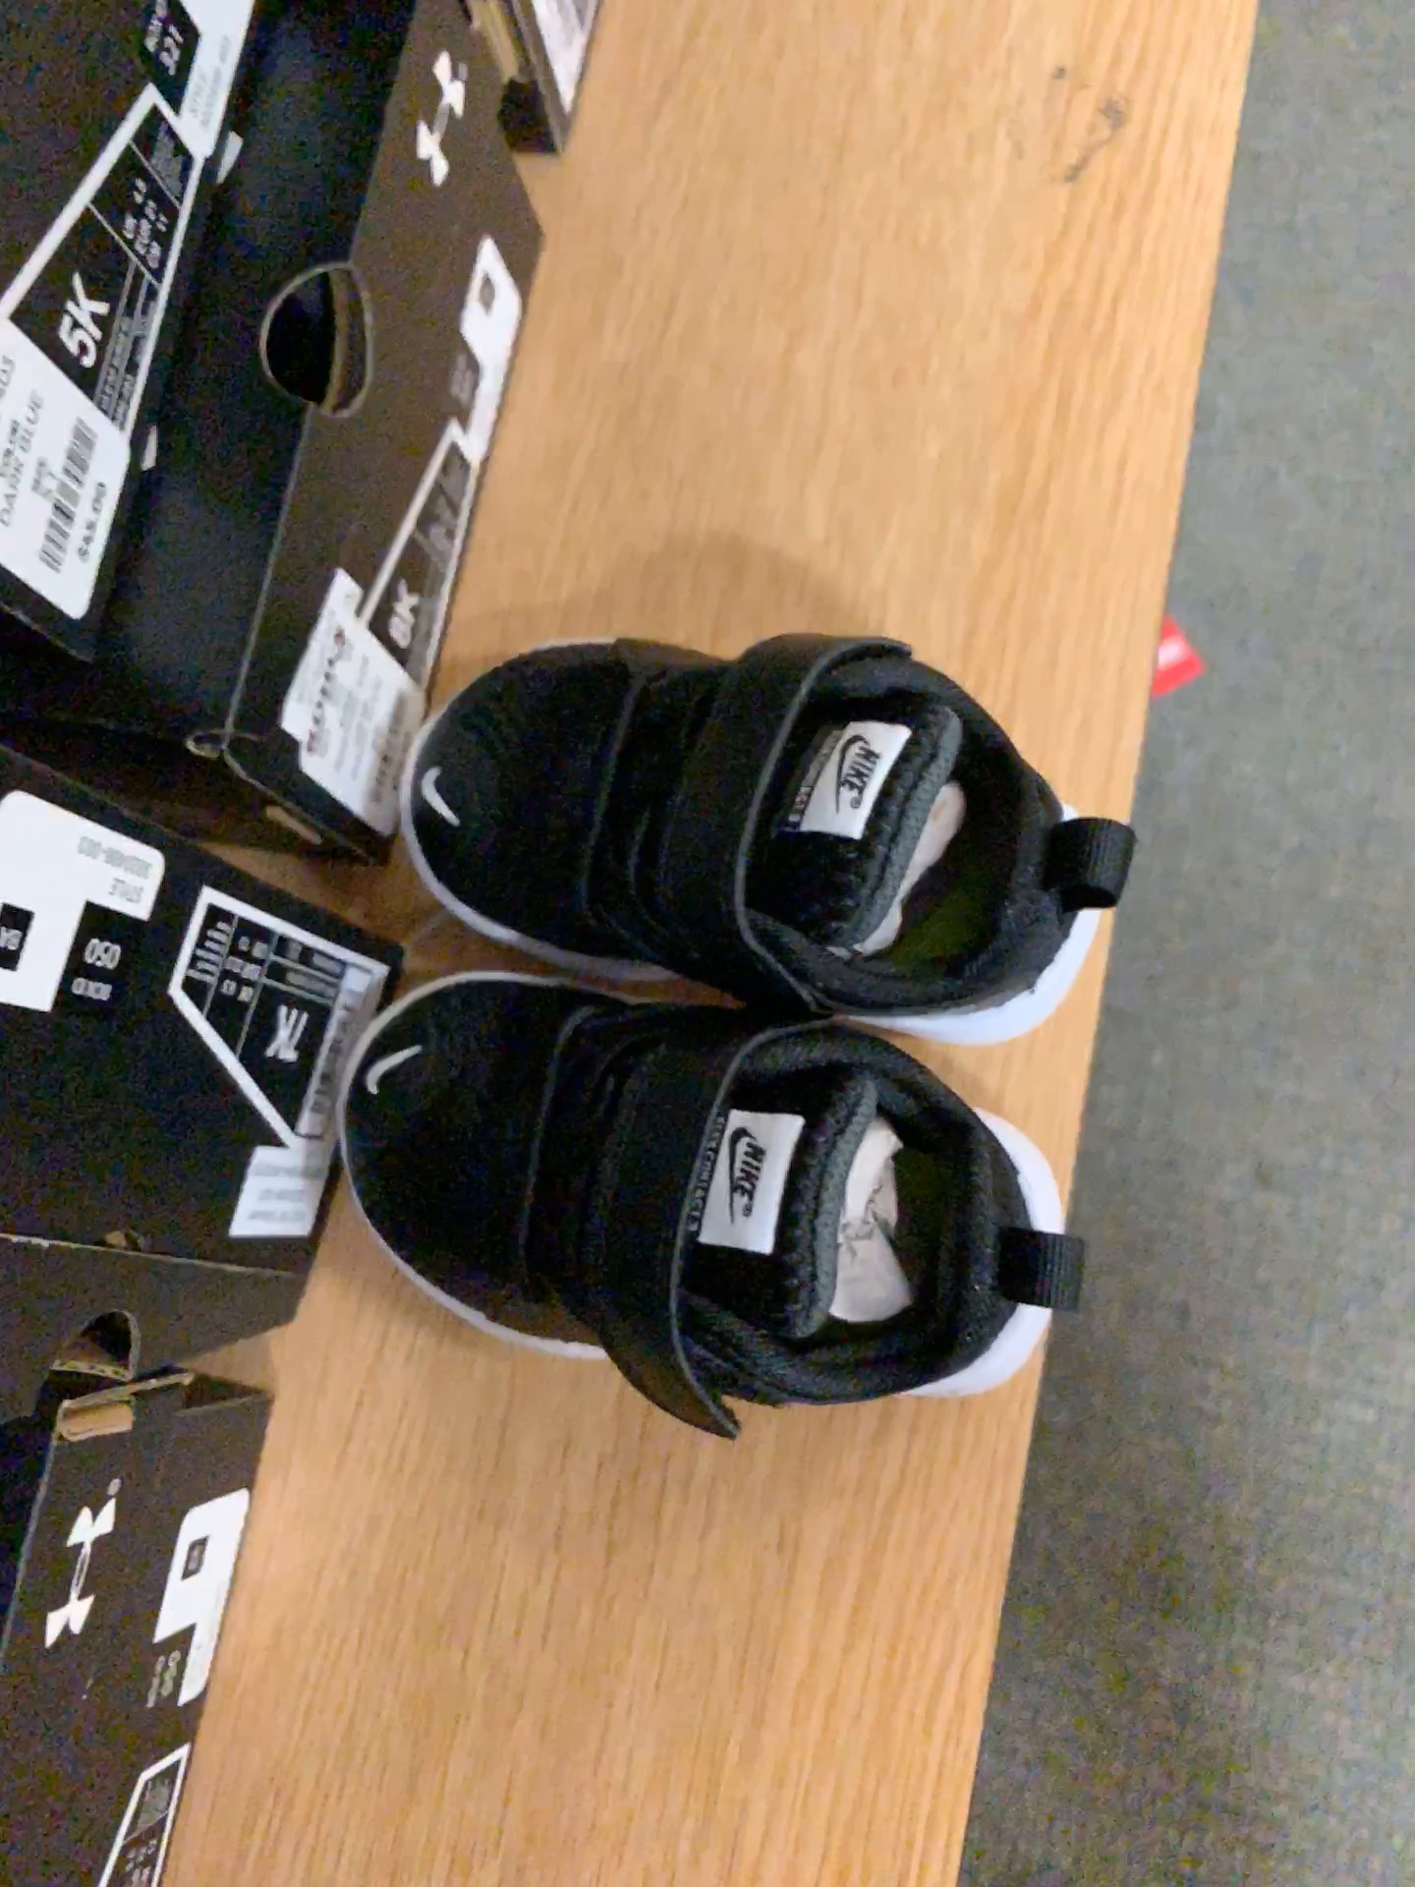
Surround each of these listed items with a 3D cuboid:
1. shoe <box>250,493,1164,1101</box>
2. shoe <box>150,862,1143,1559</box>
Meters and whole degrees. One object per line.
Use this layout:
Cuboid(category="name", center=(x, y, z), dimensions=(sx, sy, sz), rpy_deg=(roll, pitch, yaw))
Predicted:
Cuboid(category="shoe", center=(0.002, -0.025, 0.276), dimensions=(0.140, 0.060, 0.070), rpy_deg=(14, 81, 11))
Cuboid(category="shoe", center=(-0.008, 0.042, 0.255), dimensions=(0.140, 0.060, 0.070), rpy_deg=(14, 81, 11))
